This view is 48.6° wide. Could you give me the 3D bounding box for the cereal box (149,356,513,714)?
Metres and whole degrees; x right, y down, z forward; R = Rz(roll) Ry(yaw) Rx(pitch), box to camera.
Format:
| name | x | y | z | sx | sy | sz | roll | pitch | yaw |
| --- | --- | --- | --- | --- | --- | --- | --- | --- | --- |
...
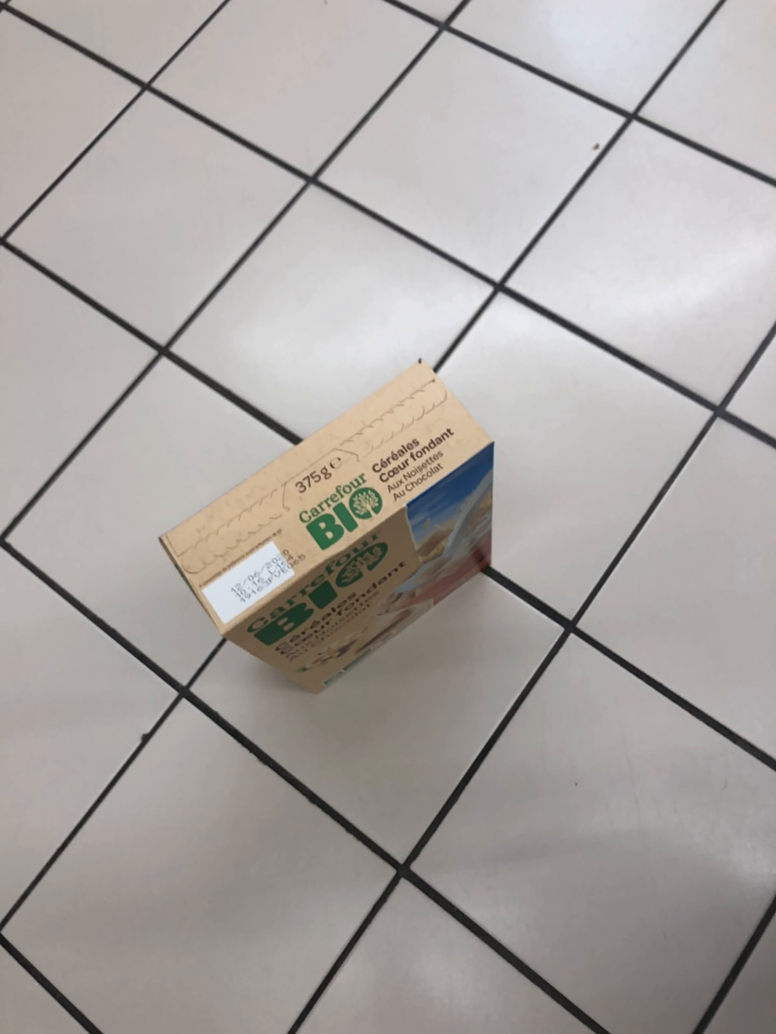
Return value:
| name | x | y | z | sx | sy | sz | roll | pitch | yaw |
| --- | --- | --- | --- | --- | --- | --- | --- | --- | --- |
| cereal box | -0.015 | 0.029 | 0.527 | 0.170 | 0.230 | 0.070 | -36 | 71 | -6 |
